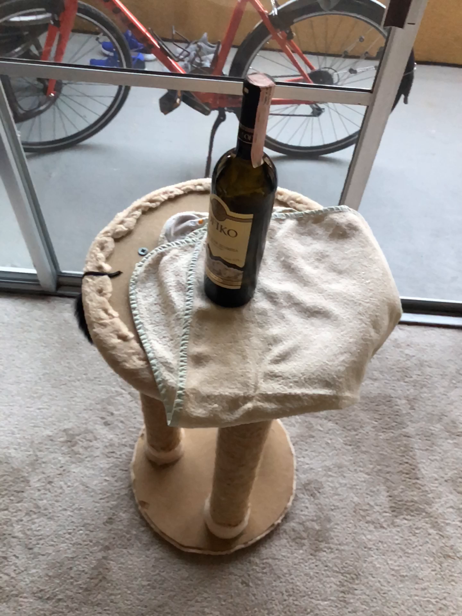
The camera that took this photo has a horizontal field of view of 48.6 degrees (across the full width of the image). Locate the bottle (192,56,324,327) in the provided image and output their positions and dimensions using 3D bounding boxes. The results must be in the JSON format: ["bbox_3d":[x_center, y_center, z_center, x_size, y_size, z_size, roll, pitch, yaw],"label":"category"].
[{"bbox_3d":[0.014,-0.103,0.537,0.080,0.269,0.080,2,52,-3],"label":"bottle"}]
